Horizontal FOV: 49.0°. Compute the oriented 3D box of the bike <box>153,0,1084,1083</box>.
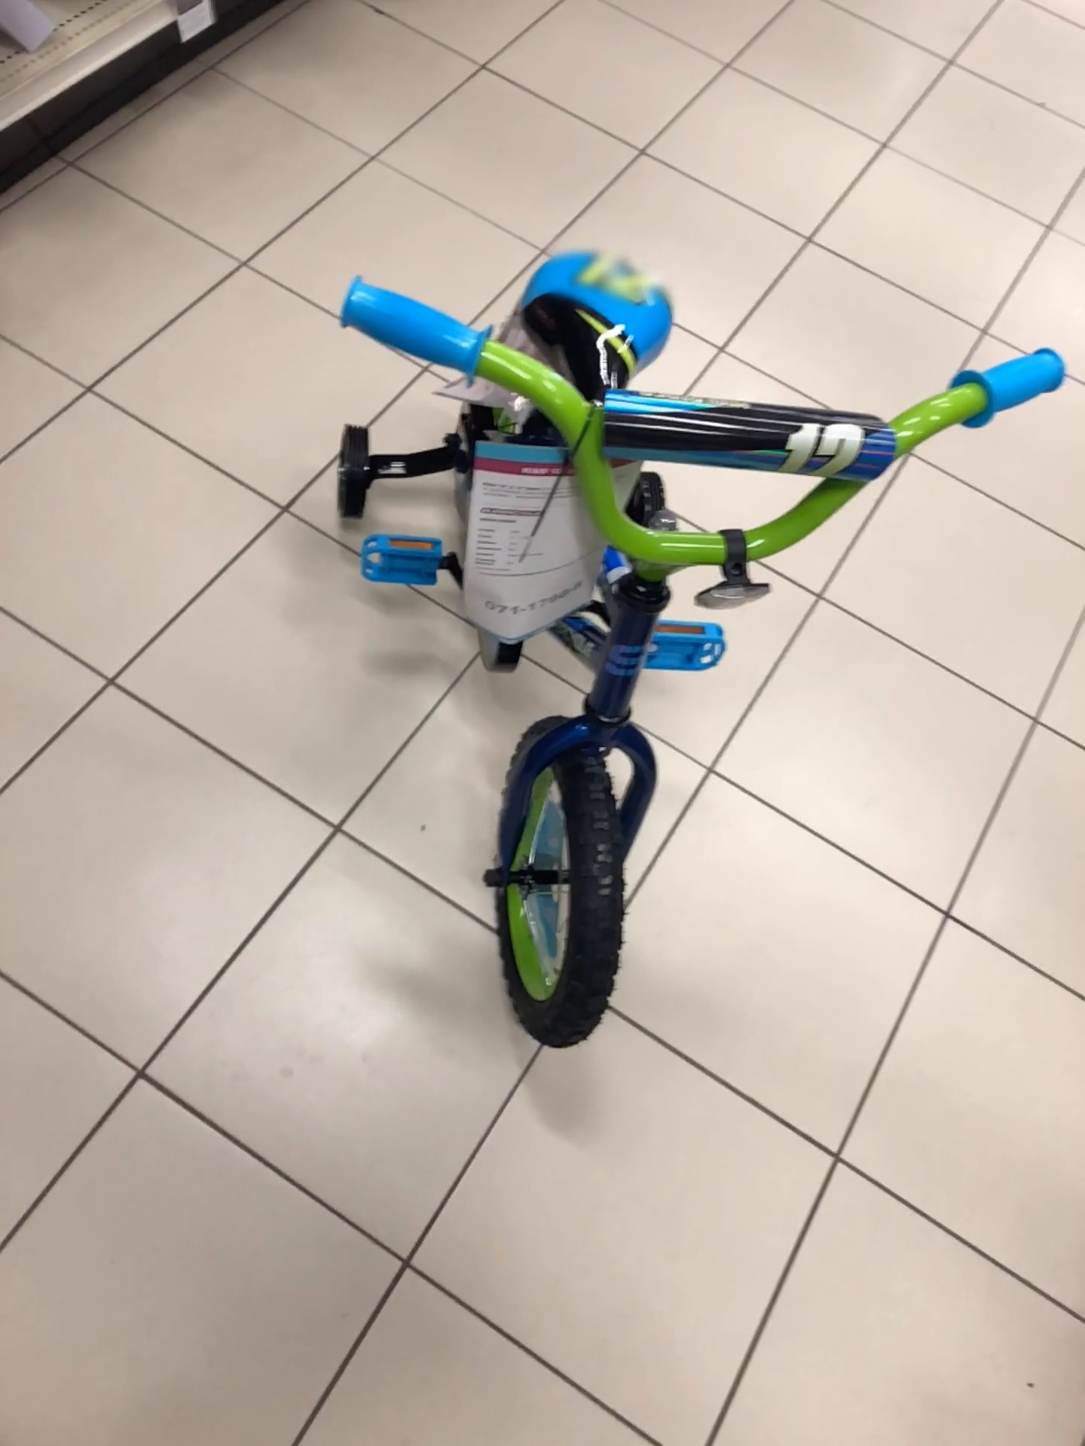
[{"bbox_3d":[0.029,-0.185,1.041,0.548,0.676,0.797,0,62,-9],"label":"bike"}]
